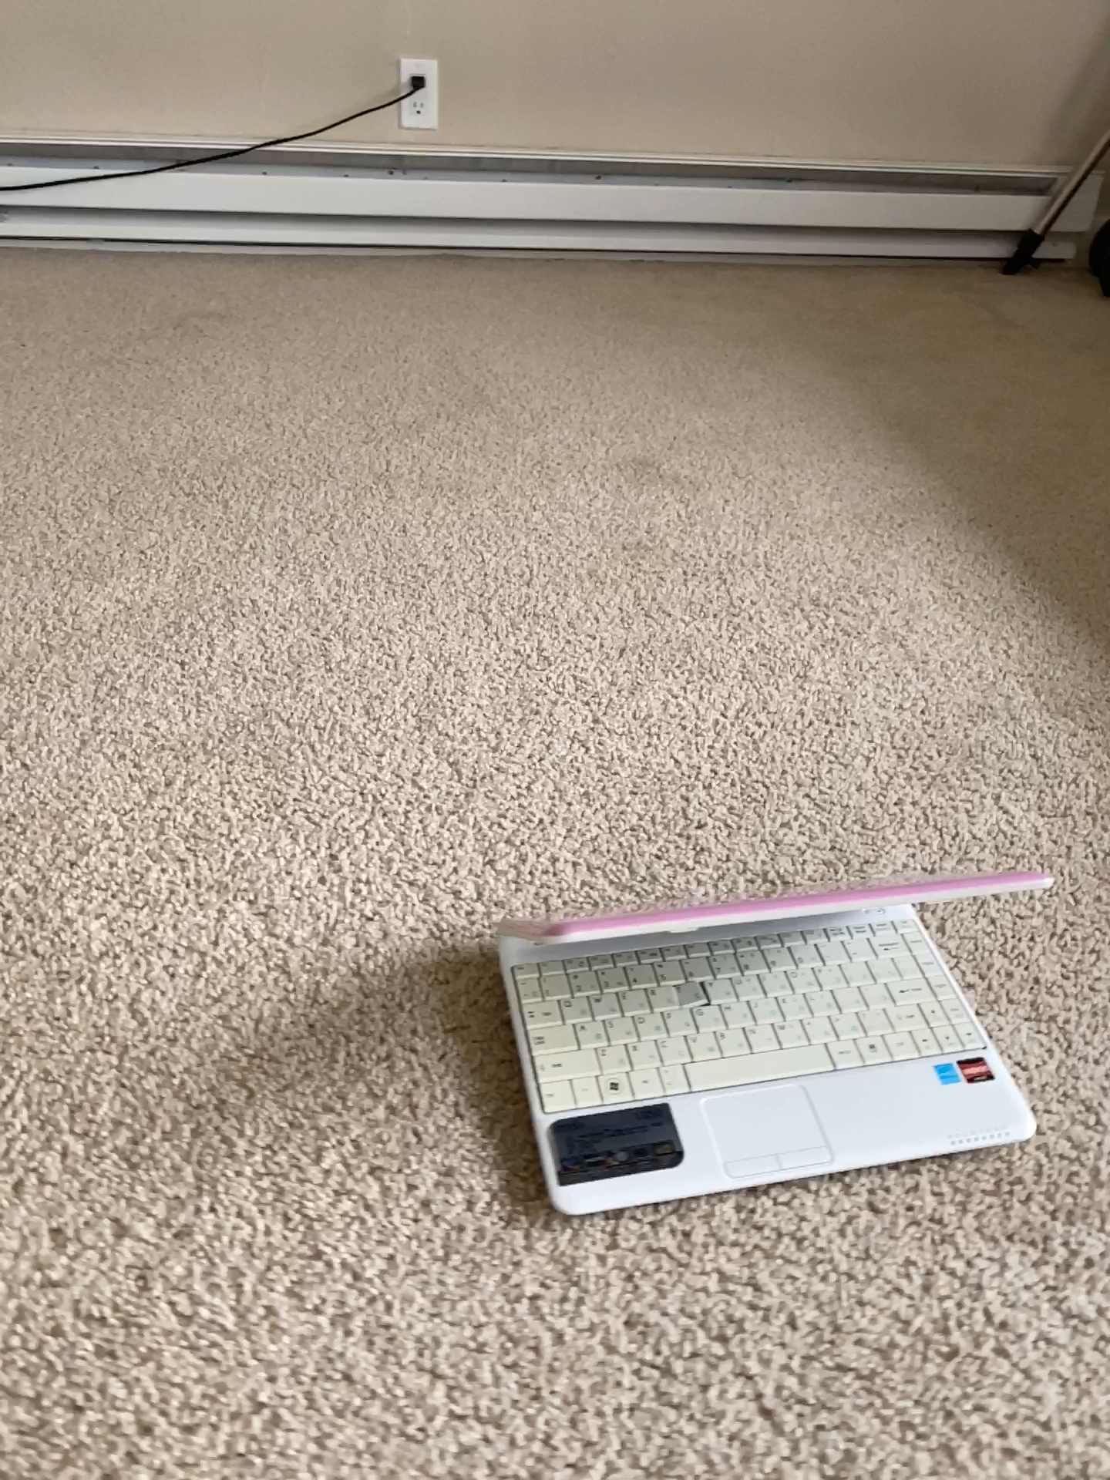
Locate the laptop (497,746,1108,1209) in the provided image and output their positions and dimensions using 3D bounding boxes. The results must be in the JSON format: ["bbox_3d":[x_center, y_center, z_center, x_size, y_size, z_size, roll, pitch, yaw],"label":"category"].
[{"bbox_3d":[0.126,0.128,0.671,0.290,0.125,0.194,-5,40,-12],"label":"laptop"}]
